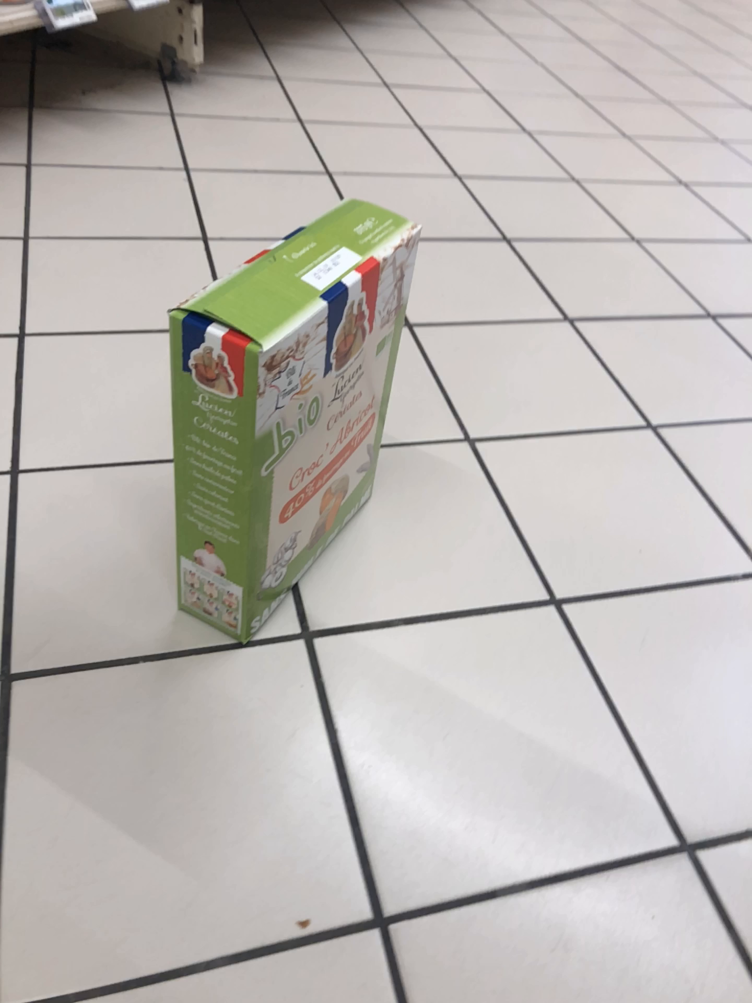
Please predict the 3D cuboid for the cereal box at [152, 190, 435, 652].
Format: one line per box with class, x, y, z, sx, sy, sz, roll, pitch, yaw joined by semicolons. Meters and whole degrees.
cereal box;-0.054;-0.054;0.562;0.070;0.238;0.201;24;44;15
